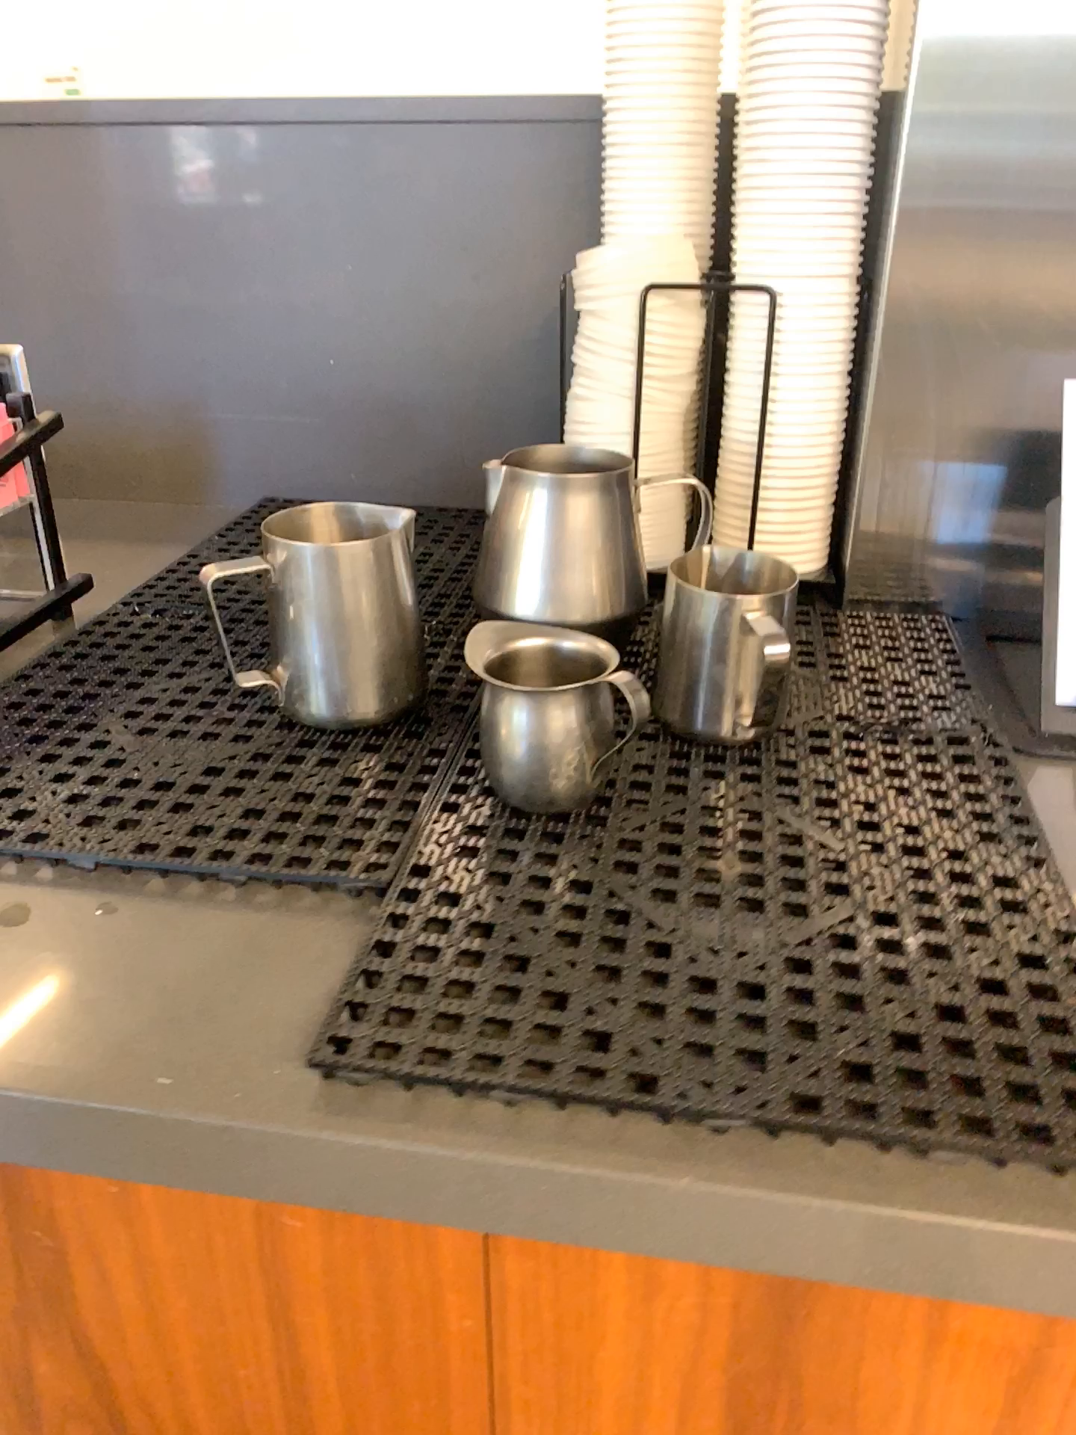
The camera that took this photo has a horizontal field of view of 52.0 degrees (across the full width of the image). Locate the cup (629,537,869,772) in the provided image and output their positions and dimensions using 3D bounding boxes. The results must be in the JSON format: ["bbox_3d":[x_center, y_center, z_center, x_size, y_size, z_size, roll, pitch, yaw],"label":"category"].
[{"bbox_3d":[0.104,-0.037,0.579,0.080,0.080,0.111,-6,27,-12],"label":"cup"}]

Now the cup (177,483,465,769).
[{"bbox_3d":[-0.113,-0.054,0.594,0.120,0.109,0.080,-20,32,-35],"label":"cup"}]

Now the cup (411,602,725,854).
[{"bbox_3d":[0.012,-0.001,0.515,0.121,0.060,0.080,23,34,38],"label":"cup"}]

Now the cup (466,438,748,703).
[{"bbox_3d":[0.036,-0.093,0.674,0.150,0.129,0.101,-3,26,-6],"label":"cup"}]
